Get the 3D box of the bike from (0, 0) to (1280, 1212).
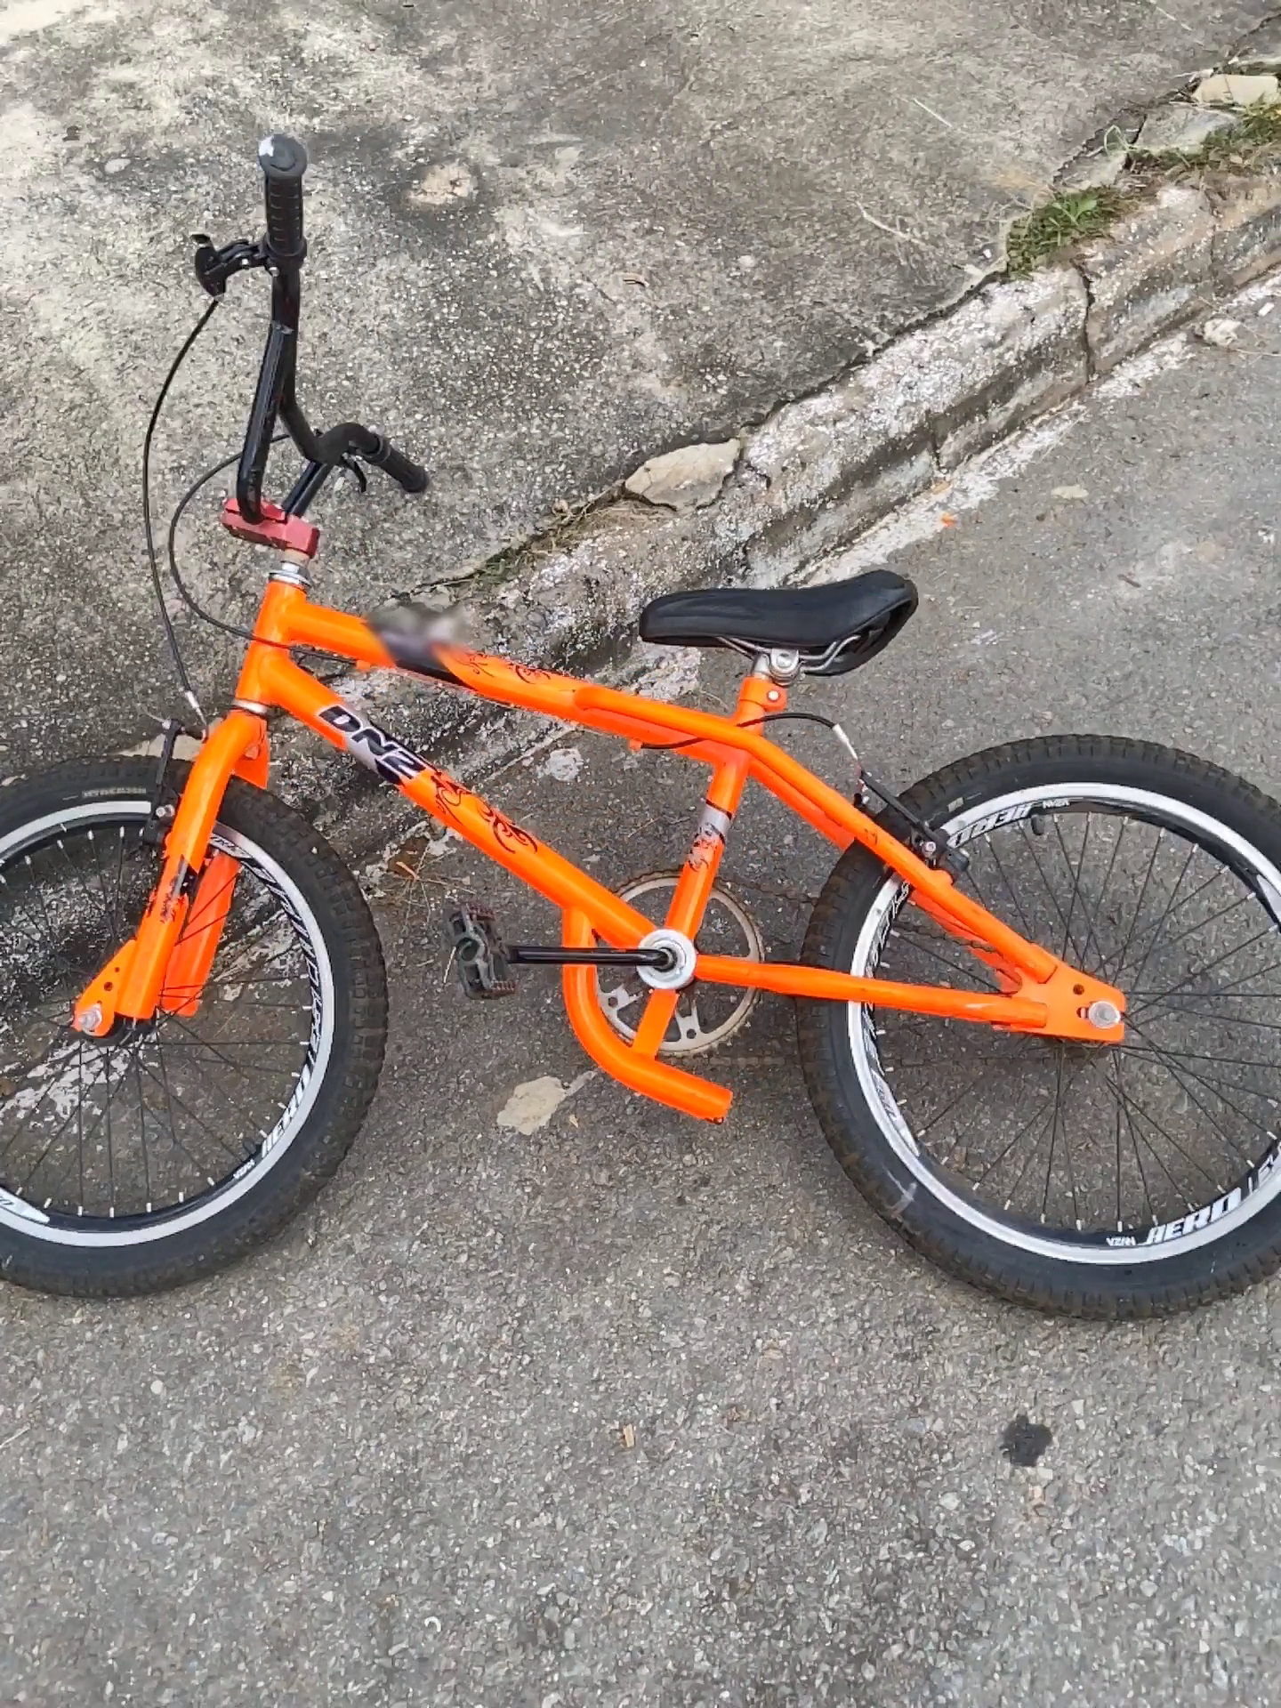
[{"bbox_3d":[0.003,-0.250,1.230,1.353,0.857,0.749,3,51,7],"label":"bike"}]
